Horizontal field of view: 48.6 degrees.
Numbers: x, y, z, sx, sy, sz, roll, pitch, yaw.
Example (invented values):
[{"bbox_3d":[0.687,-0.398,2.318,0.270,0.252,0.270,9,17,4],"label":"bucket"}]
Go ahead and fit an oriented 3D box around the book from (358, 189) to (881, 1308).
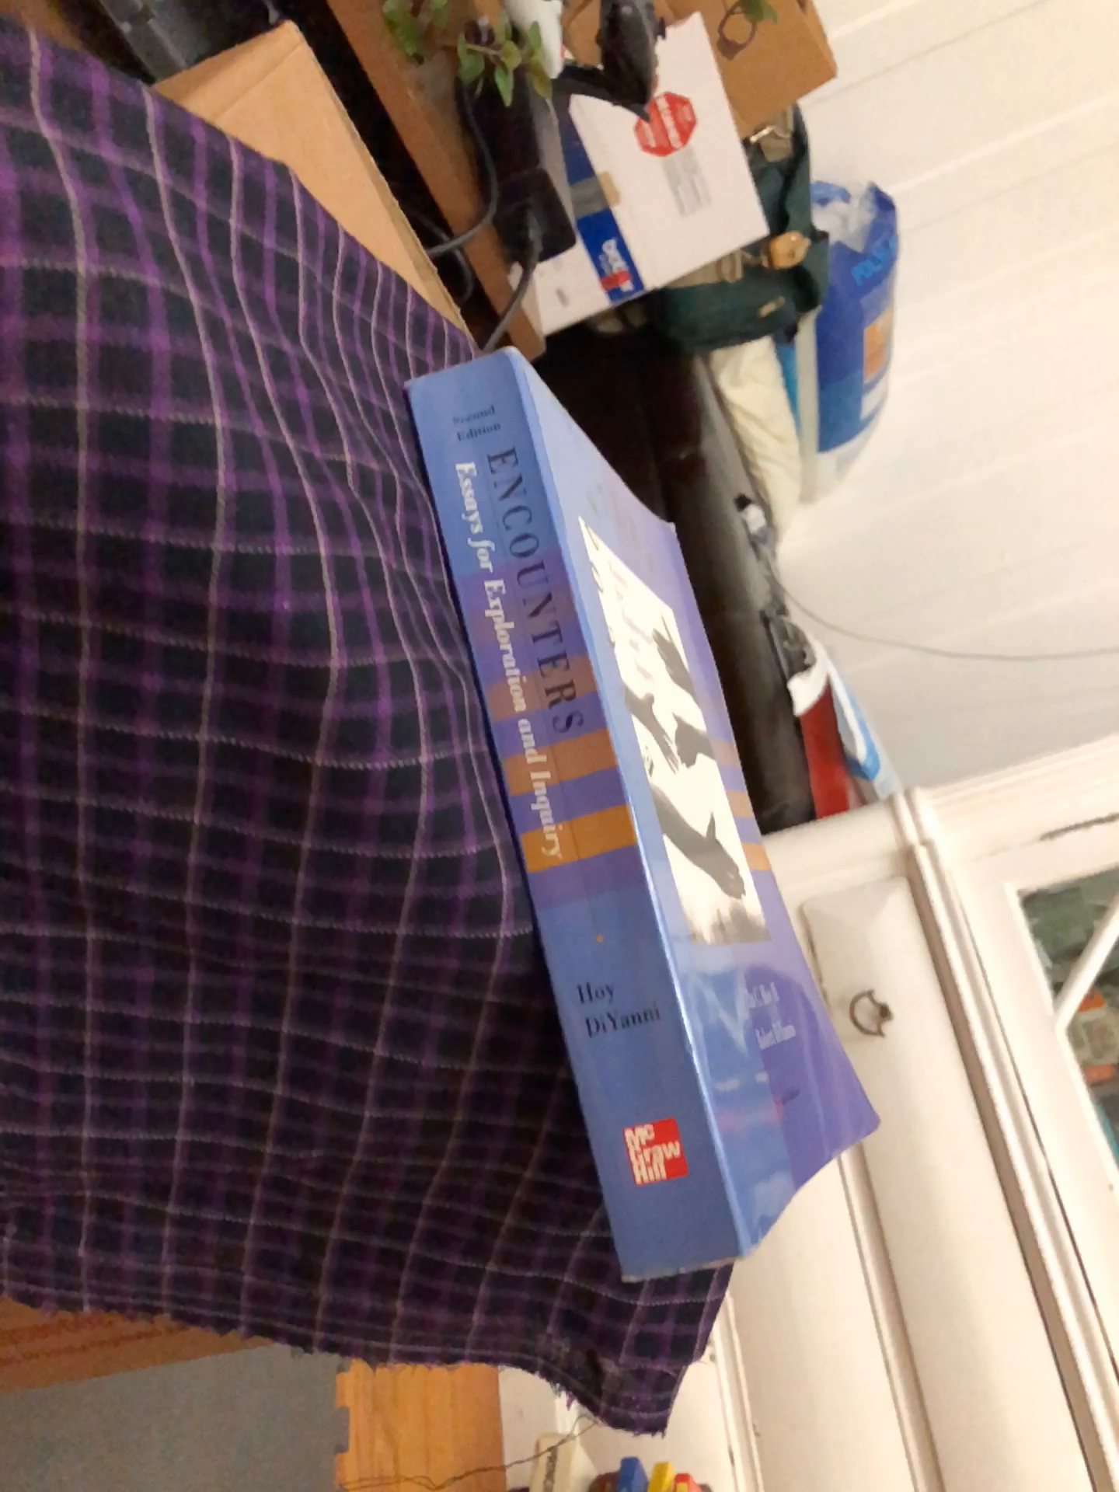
[{"bbox_3d":[0.032,0.003,0.380,0.201,0.040,0.260,22,51,-70],"label":"book"}]
